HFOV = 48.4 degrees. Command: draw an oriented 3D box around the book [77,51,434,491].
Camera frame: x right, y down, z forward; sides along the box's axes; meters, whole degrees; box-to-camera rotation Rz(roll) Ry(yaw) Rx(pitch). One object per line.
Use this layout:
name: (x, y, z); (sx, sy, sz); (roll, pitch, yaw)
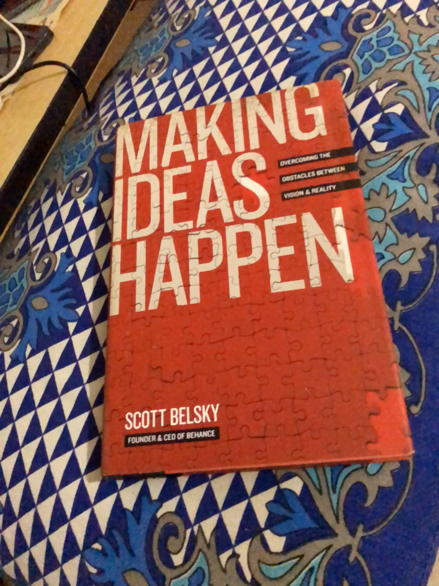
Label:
book: (0.009, -0.025, 0.285); (0.160, 0.030, 0.250); (-8, 63, 12)
